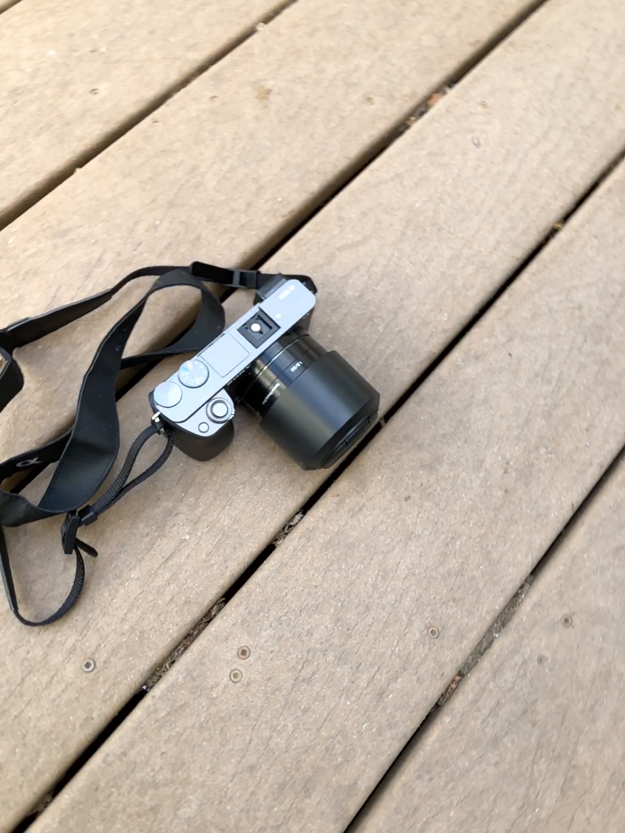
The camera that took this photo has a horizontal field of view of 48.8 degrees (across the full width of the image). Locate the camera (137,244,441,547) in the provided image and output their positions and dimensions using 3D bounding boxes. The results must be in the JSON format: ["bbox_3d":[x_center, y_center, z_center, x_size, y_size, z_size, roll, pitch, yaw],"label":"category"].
[{"bbox_3d":[-0.015,-0.011,0.415,0.110,0.070,0.130,44,72,7],"label":"camera"}]
